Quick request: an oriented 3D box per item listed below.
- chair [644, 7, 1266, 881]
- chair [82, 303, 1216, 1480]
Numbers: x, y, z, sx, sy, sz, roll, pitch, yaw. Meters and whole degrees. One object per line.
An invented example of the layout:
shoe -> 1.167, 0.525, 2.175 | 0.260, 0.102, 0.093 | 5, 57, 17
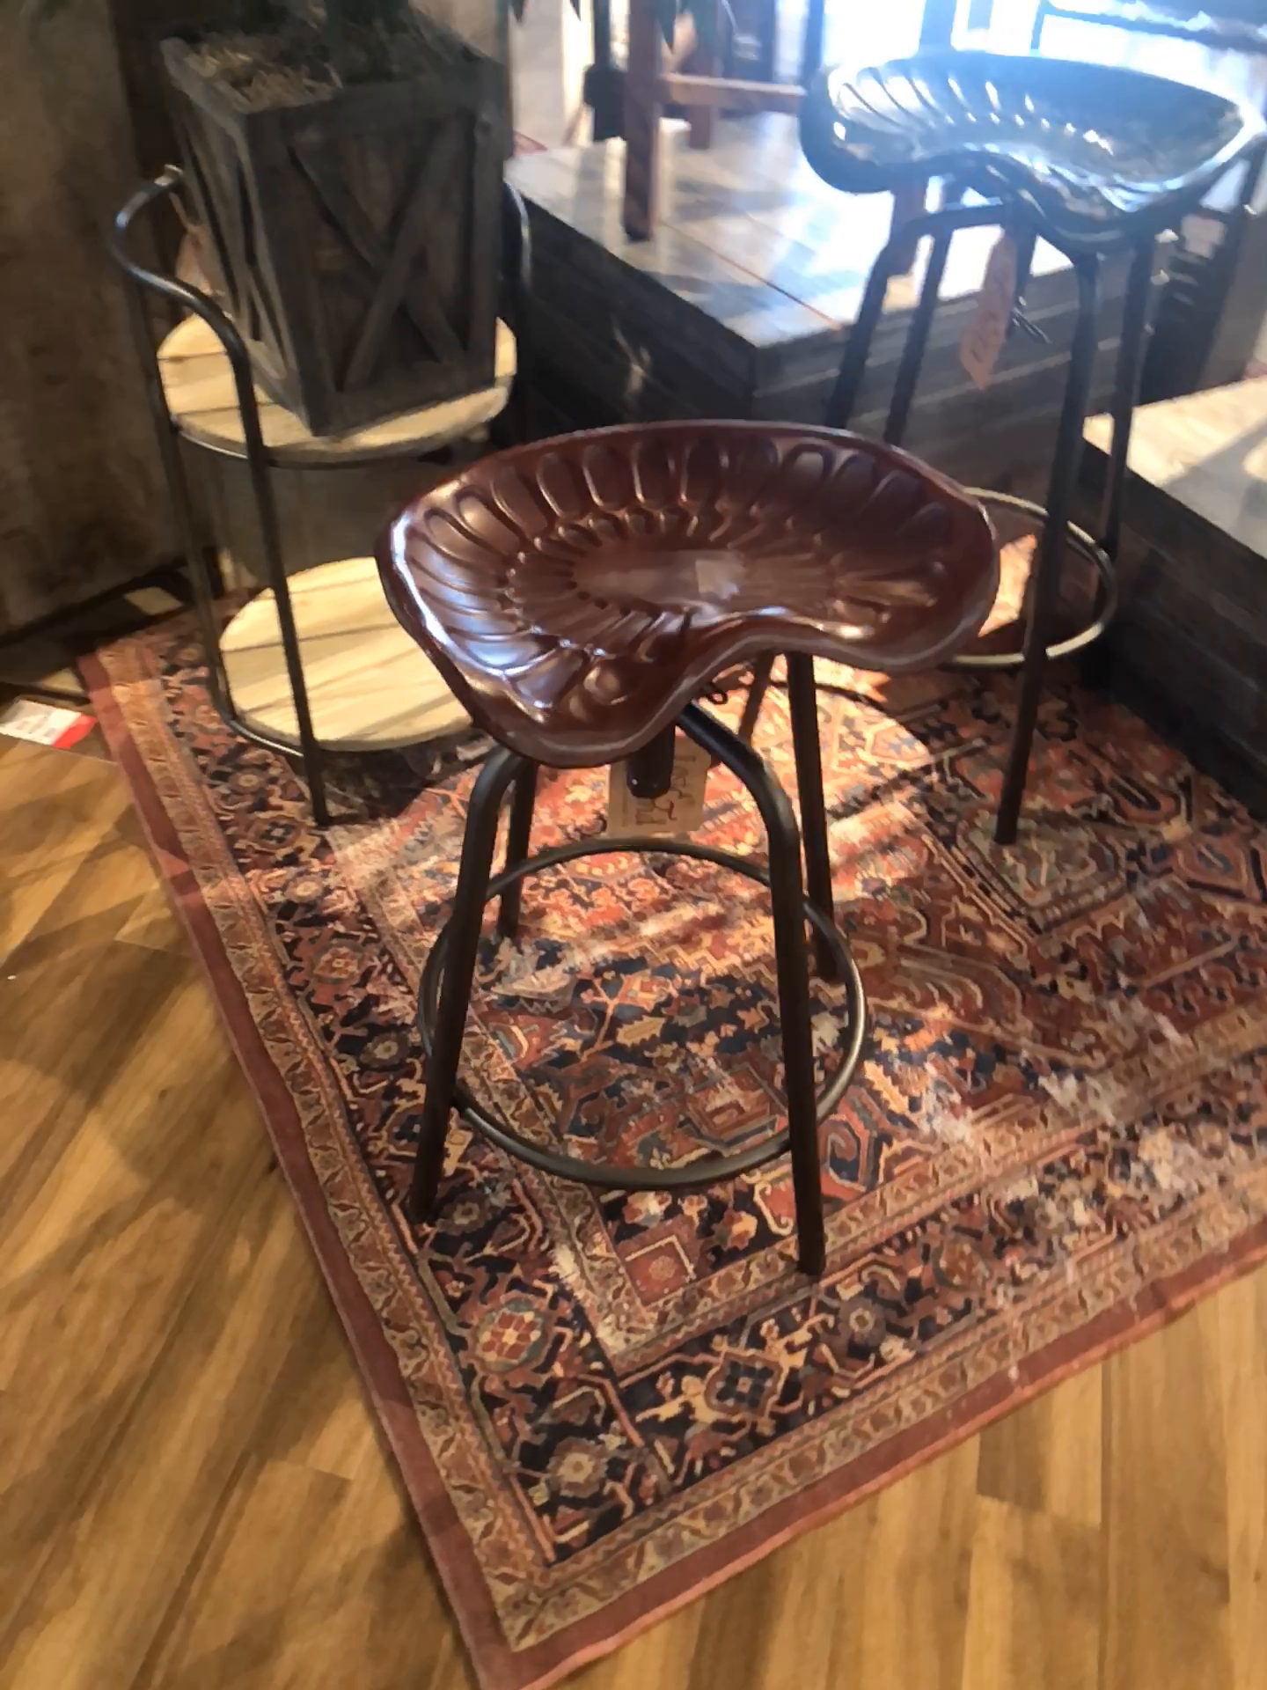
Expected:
chair -> 0.398, -0.497, 1.683 | 0.537, 0.736, 0.612 | 19, 46, 17
chair -> -0.021, 0.003, 1.210 | 0.568, 0.627, 0.612 | -25, 50, -26
